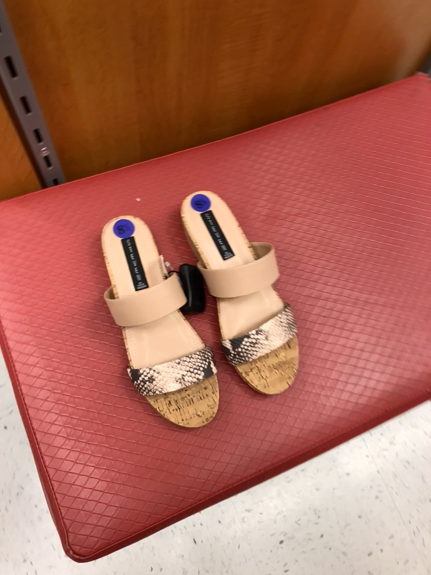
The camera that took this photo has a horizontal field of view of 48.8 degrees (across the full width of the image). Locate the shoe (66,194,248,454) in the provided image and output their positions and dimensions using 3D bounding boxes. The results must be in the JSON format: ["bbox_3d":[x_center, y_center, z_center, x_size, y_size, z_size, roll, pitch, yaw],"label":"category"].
[{"bbox_3d":[-0.069,0.039,0.525,0.095,0.085,0.257,-21,74,-13],"label":"shoe"}]

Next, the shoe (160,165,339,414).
[{"bbox_3d":[0.027,0.001,0.548,0.096,0.085,0.257,-20,74,-13],"label":"shoe"}]
